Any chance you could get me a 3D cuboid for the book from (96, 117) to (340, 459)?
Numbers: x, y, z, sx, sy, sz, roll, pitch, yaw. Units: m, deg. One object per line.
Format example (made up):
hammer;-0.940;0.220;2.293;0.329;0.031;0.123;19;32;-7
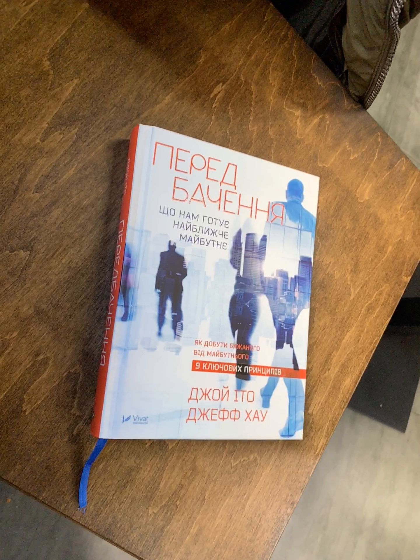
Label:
book;0.013;0.011;0.294;0.149;0.040;0.196;8;81;-24
